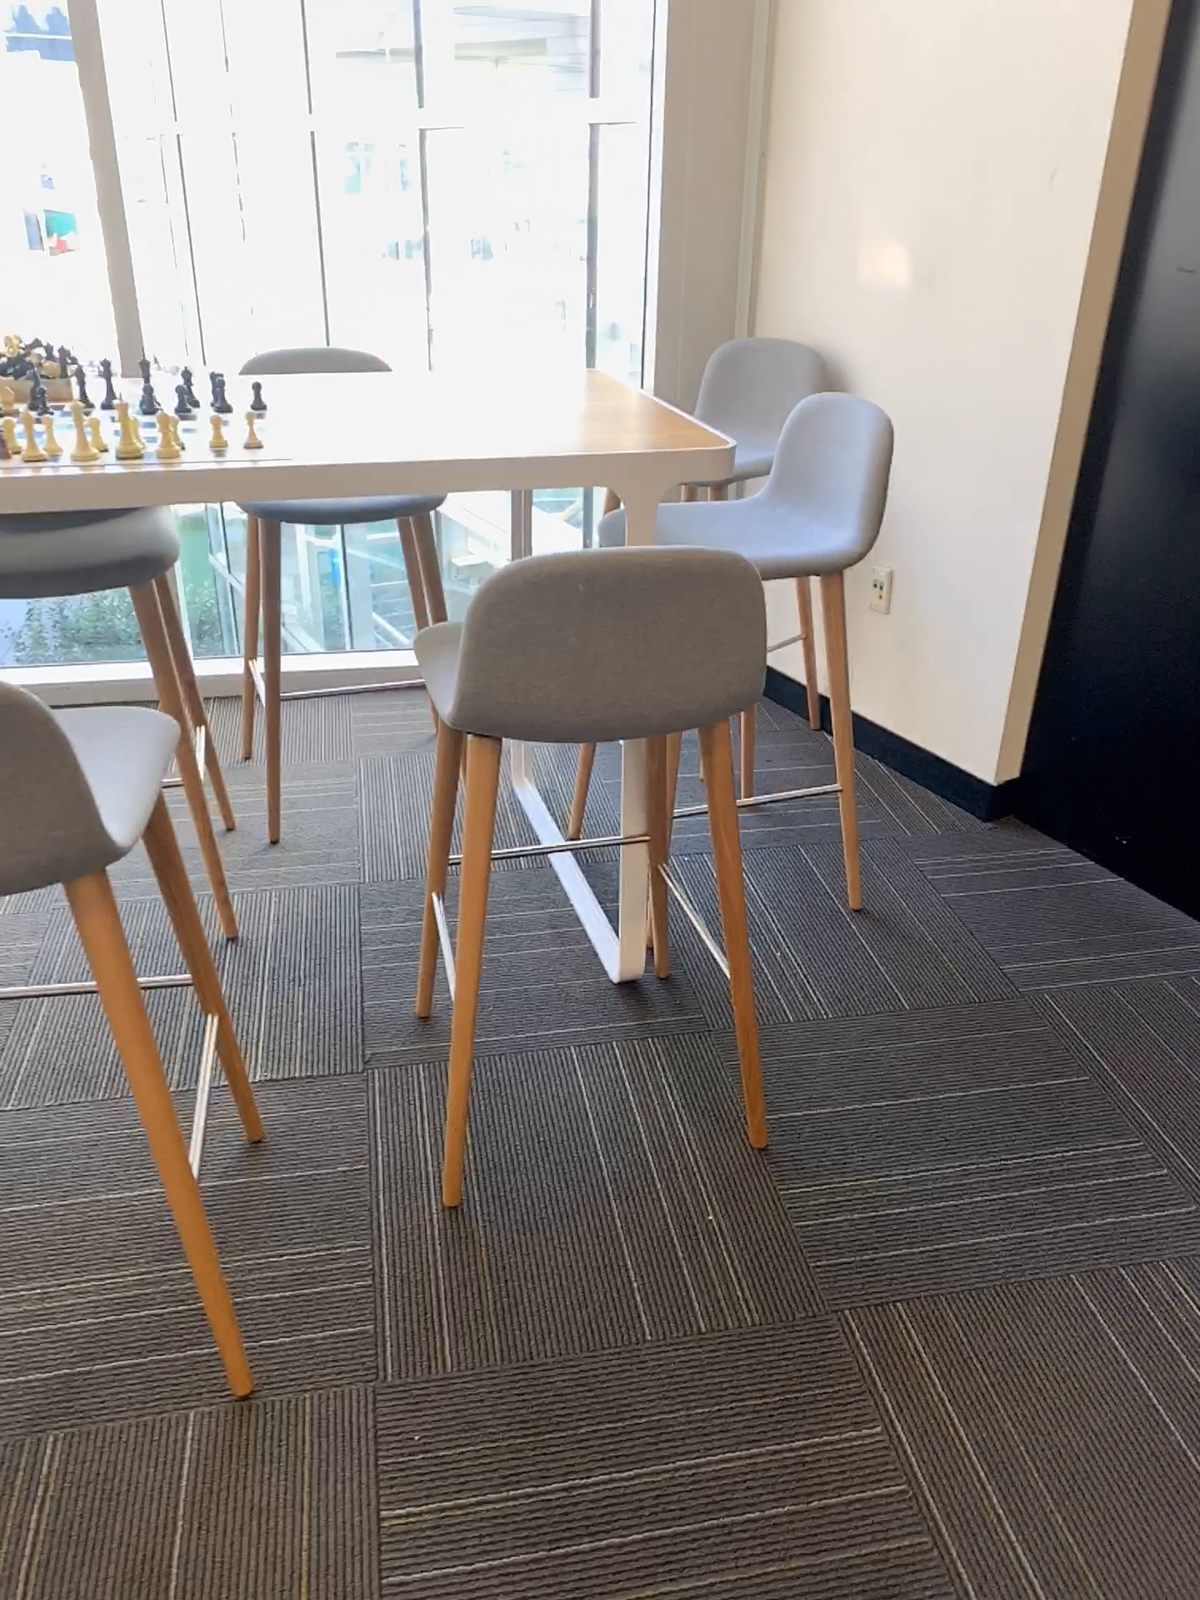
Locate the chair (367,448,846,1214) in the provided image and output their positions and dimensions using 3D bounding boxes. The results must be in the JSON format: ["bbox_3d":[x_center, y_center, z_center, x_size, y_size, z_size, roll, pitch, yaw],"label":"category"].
[{"bbox_3d":[-0.037,0.019,1.819,0.500,0.935,0.553,-6,28,-14],"label":"chair"}]

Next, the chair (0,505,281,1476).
[{"bbox_3d":[-0.720,0.195,1.435,0.550,0.935,0.553,-3,27,-8],"label":"chair"}]

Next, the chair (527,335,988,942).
[{"bbox_3d":[0.235,-0.378,2.526,0.620,0.994,0.785,-6,28,-14],"label":"chair"}]
